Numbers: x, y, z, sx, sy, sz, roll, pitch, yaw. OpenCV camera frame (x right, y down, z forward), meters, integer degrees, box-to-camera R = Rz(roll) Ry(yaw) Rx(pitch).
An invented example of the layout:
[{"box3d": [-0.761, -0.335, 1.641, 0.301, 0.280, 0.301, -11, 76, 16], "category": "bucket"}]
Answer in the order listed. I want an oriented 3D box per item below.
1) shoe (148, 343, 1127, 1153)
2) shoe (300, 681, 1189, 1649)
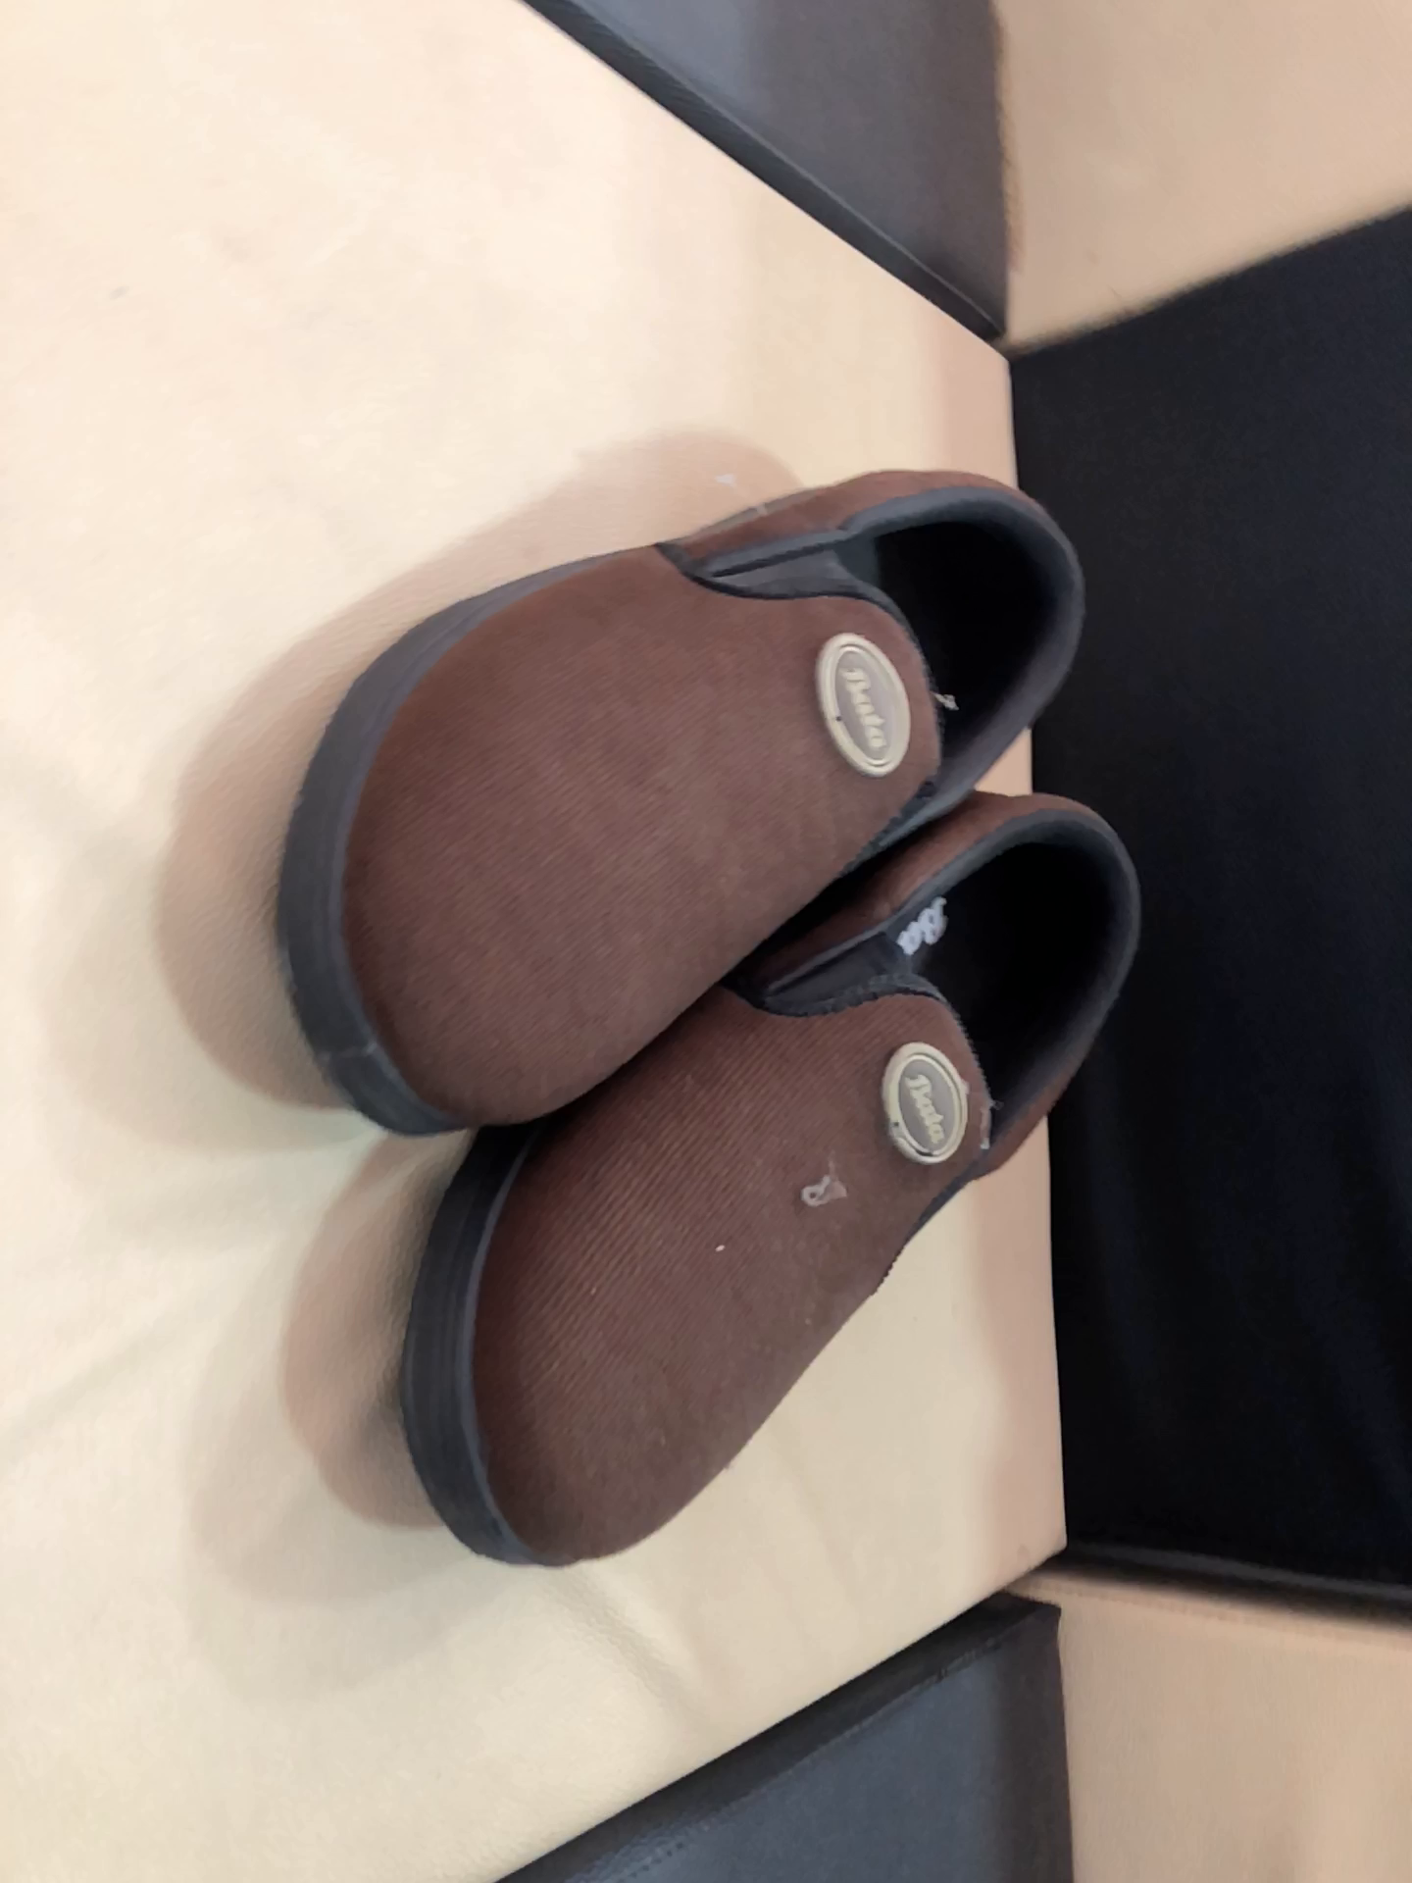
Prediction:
[{"box3d": [0.008, -0.059, 0.378, 0.252, 0.089, 0.090, -44, 119, -45], "category": "shoe"}, {"box3d": [0.035, 0.032, 0.401, 0.272, 0.079, 0.090, -44, 119, -45], "category": "shoe"}]
